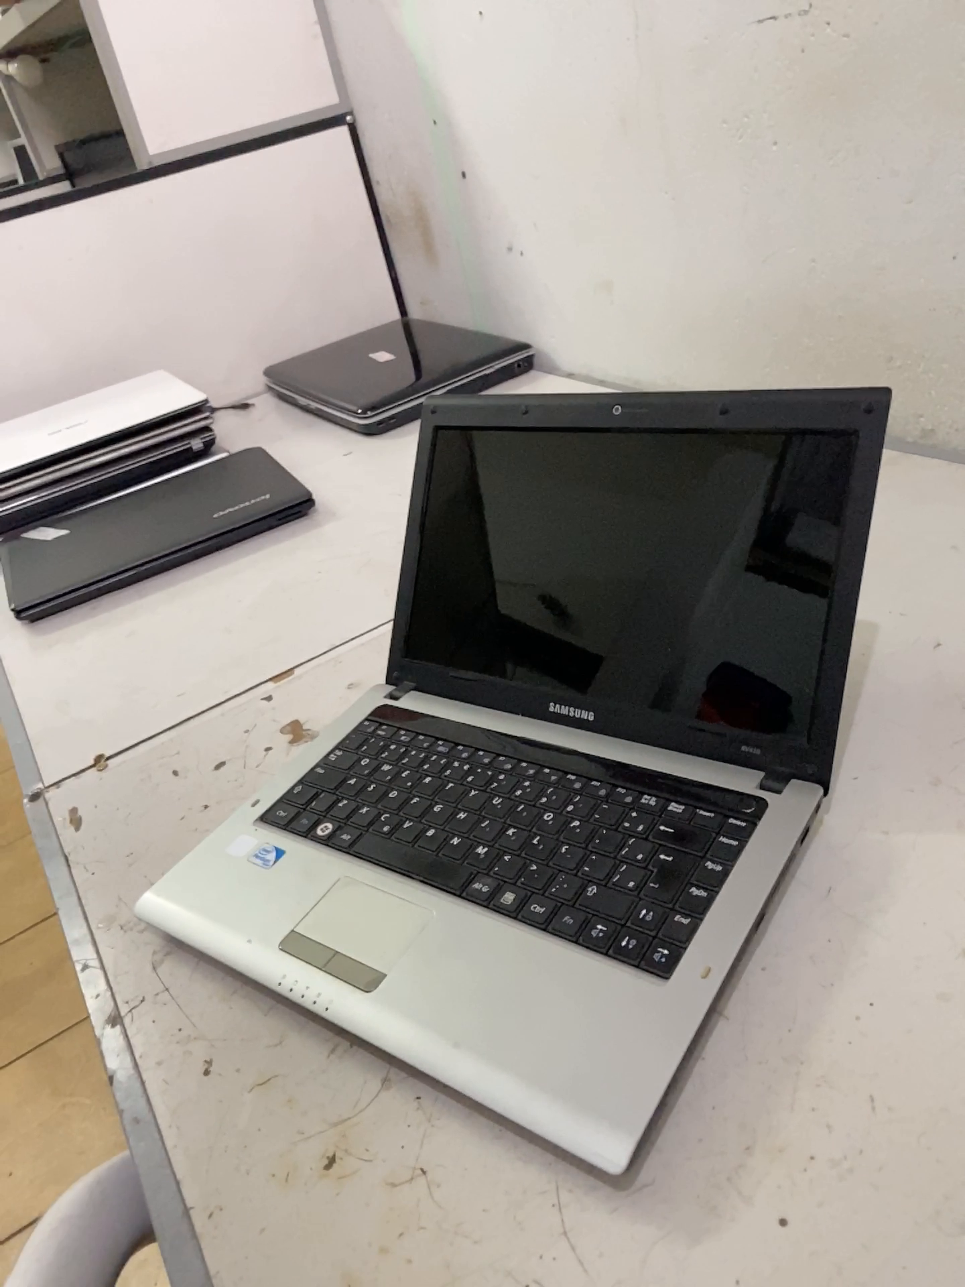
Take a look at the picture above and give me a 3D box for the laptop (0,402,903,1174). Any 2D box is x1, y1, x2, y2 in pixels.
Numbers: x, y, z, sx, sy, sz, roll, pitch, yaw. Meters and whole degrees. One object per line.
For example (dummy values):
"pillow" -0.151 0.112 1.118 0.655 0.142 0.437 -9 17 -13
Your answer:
"laptop" 0.005 0.015 0.555 0.335 0.172 0.363 10 39 37
